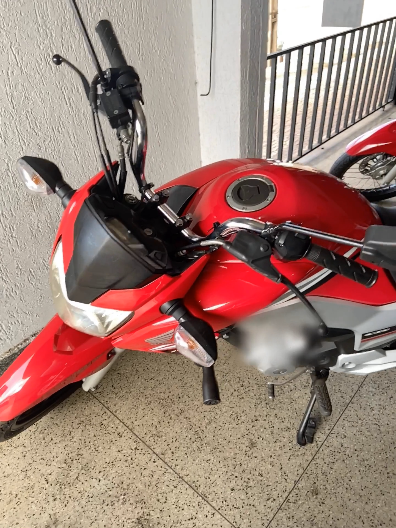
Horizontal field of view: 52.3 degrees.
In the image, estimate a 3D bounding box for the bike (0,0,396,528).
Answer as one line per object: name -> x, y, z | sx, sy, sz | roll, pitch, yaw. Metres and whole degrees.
bike -> 0.315, 0.206, 1.096 | 1.991, 1.421, 0.873 | -11, 36, -6
